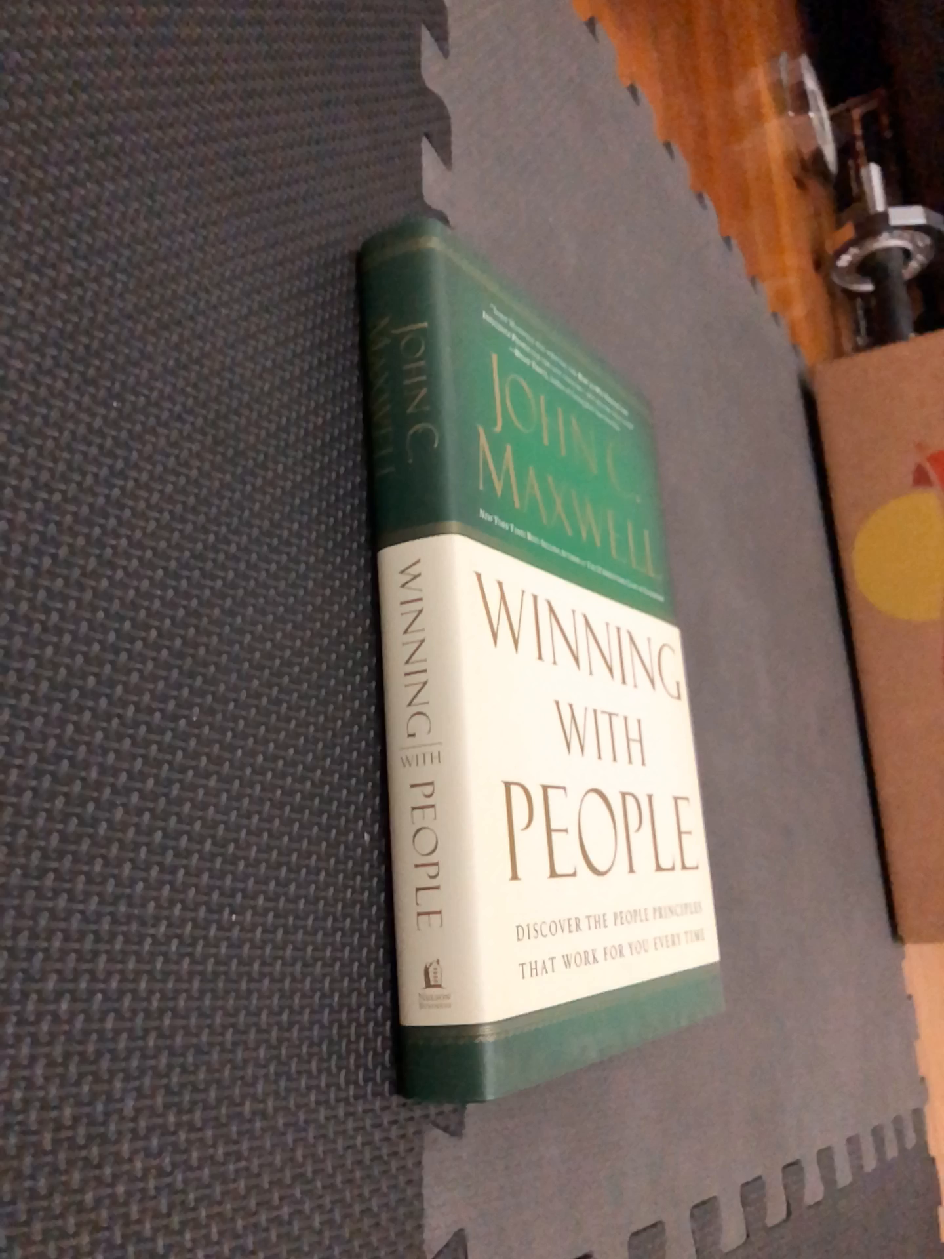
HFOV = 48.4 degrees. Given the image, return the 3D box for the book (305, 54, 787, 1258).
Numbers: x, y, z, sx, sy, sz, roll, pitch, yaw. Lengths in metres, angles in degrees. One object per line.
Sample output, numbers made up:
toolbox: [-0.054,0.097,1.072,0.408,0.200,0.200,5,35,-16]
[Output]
book: [0.031,0.009,0.328,0.201,0.030,0.290,19,62,-55]
